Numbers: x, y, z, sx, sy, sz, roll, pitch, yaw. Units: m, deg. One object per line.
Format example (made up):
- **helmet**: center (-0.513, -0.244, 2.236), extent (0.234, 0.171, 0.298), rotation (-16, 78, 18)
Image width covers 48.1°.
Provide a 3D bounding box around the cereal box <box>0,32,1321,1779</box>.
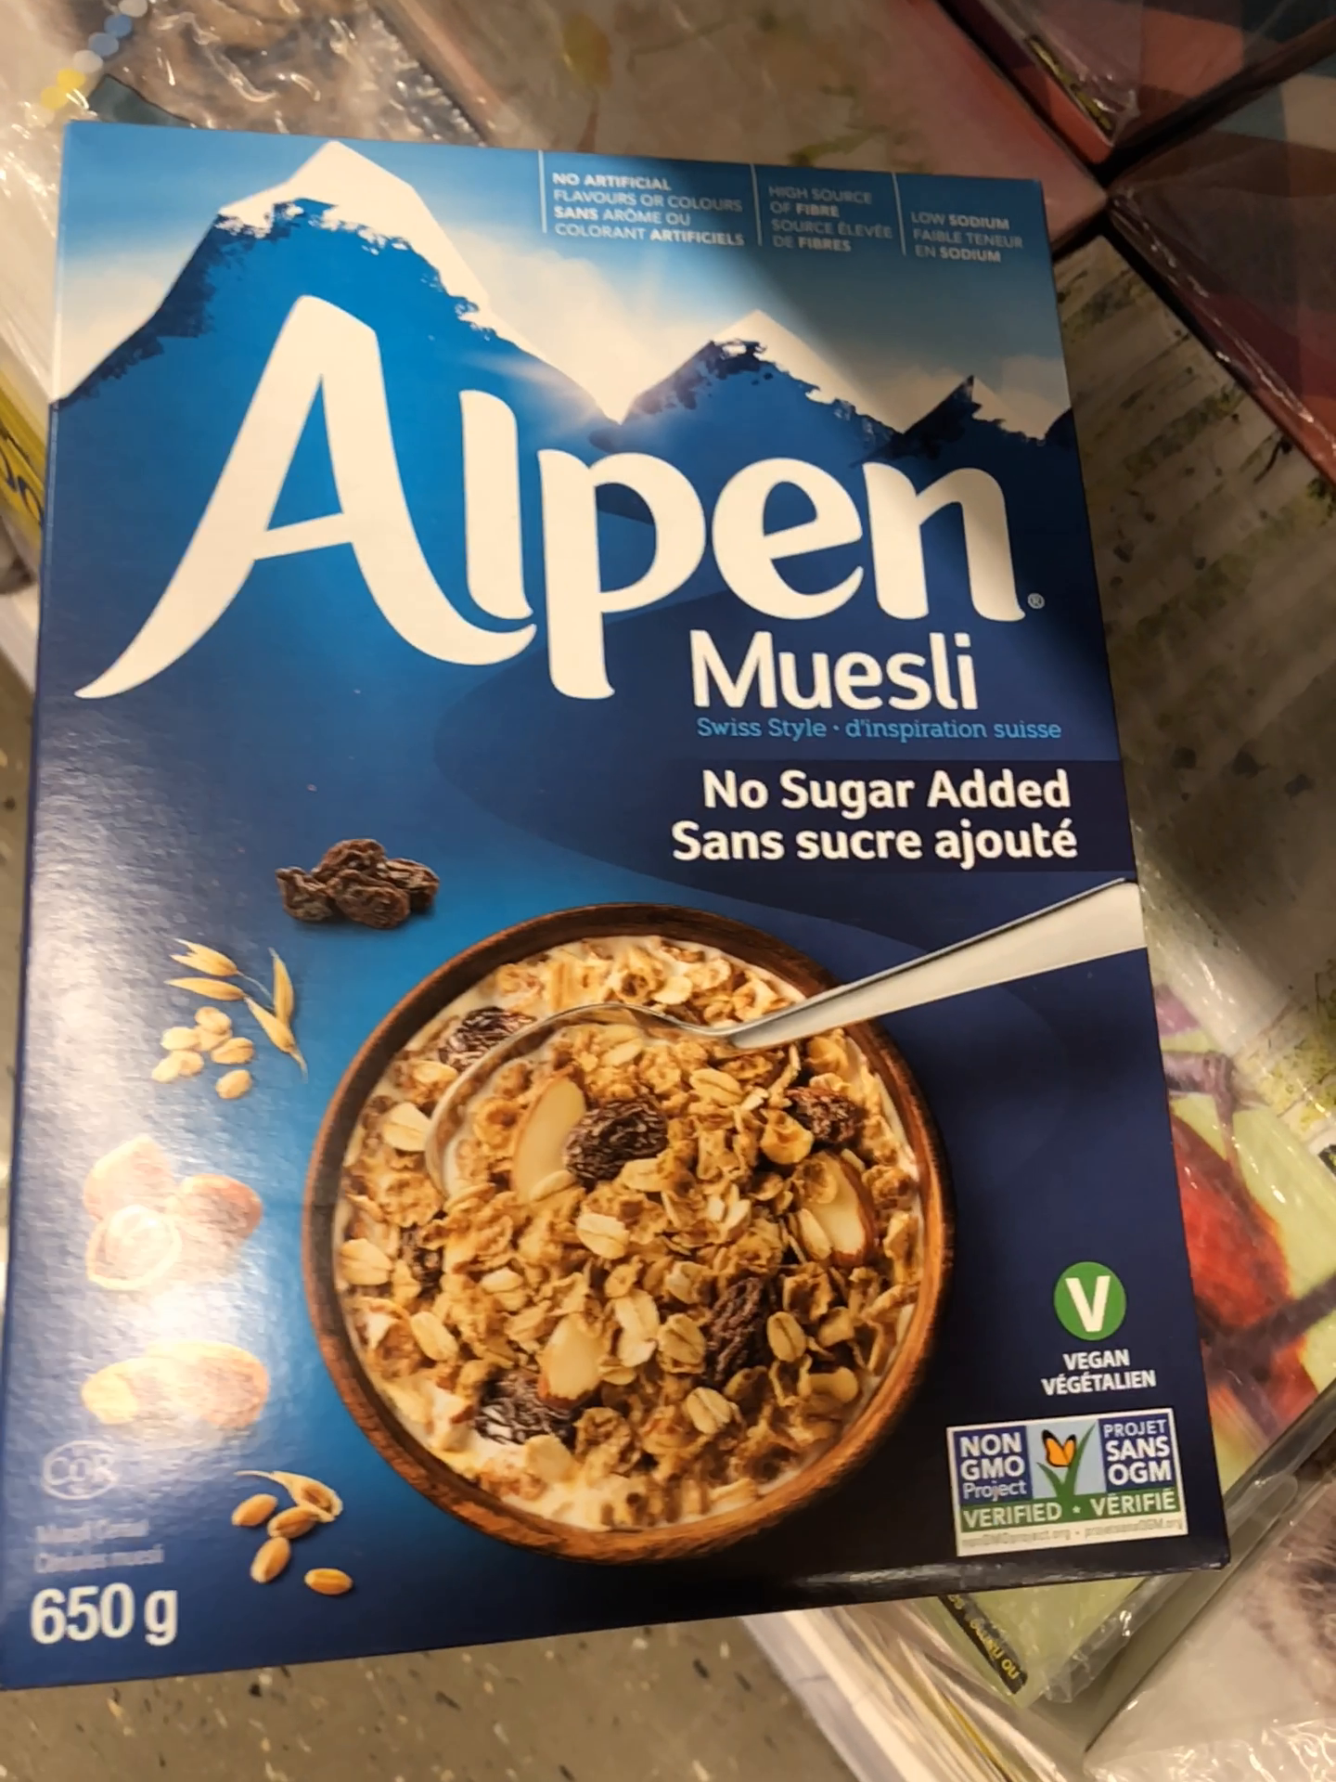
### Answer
- **cereal box**: center (-0.018, -0.011, 0.249), extent (0.200, 0.050, 0.250), rotation (-1, 76, -10)
